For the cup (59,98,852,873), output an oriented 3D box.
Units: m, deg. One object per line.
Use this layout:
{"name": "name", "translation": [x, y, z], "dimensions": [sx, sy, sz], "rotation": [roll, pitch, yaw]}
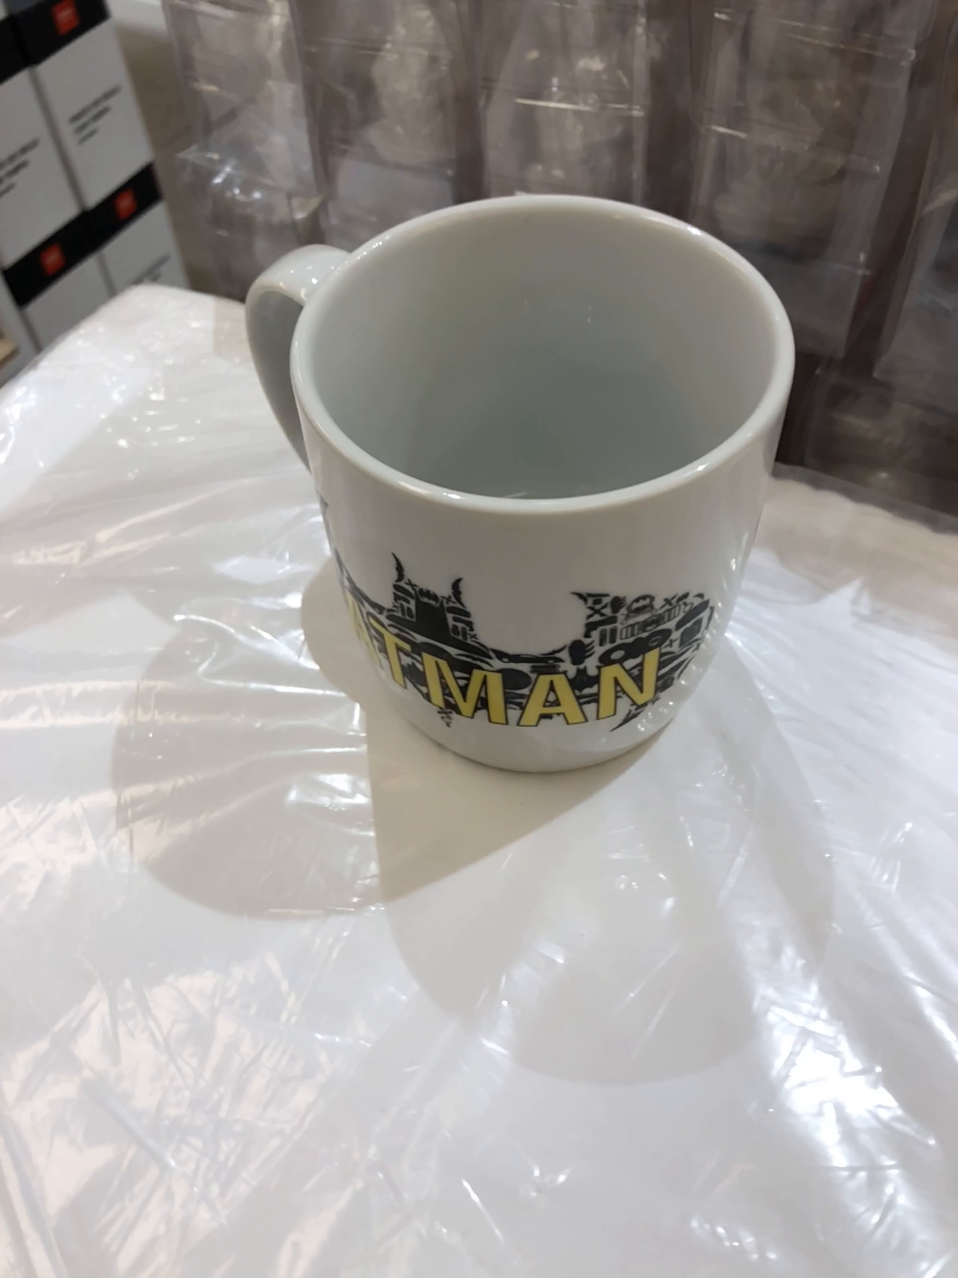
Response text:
{"name": "cup", "translation": [-0.004, -0.033, 0.219], "dimensions": [0.110, 0.089, 0.080], "rotation": [34, 62, 25]}
